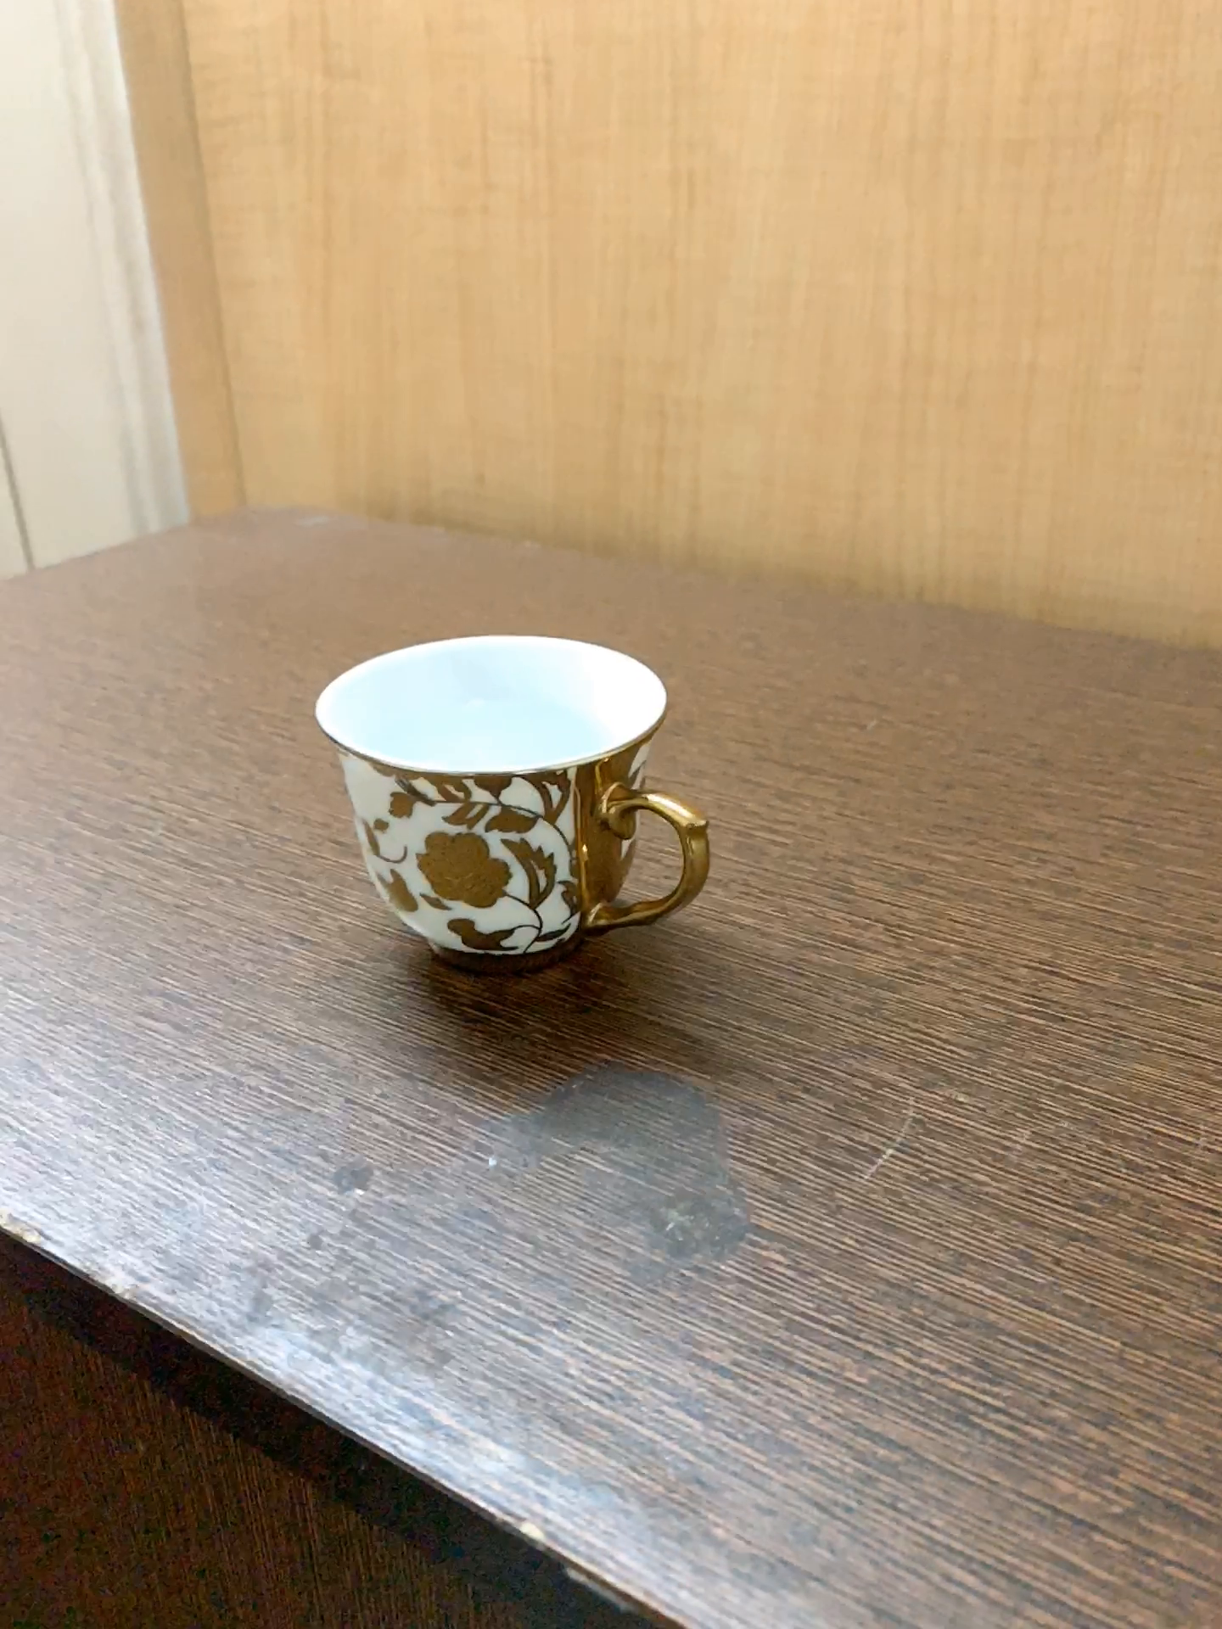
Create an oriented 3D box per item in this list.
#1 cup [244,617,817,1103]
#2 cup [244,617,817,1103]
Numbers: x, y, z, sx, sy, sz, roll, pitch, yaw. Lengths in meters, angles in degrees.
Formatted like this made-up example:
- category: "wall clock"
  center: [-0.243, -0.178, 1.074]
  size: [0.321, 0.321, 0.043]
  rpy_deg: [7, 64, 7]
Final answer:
- category: "cup"
  center: [-0.014, 0.002, 0.247]
  size: [0.080, 0.050, 0.070]
  rpy_deg: [18, 32, 32]
- category: "cup"
  center: [-0.014, 0.002, 0.247]
  size: [0.080, 0.050, 0.070]
  rpy_deg: [18, 32, 32]
